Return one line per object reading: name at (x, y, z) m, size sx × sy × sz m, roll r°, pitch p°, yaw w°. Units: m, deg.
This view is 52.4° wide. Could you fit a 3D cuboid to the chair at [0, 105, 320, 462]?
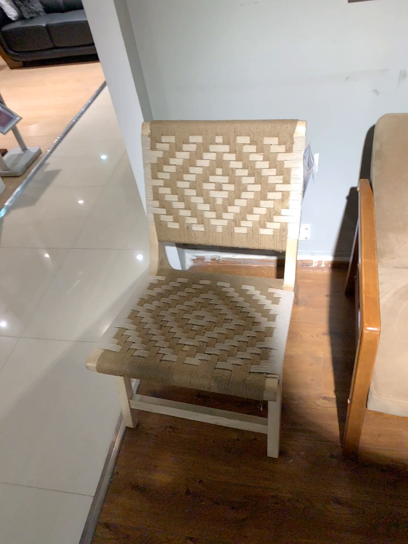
chair at (-0.002, 0.040, 1.320) m, size 0.631 × 0.847 × 0.662 m, roll 5°, pitch 46°, yaw 16°
